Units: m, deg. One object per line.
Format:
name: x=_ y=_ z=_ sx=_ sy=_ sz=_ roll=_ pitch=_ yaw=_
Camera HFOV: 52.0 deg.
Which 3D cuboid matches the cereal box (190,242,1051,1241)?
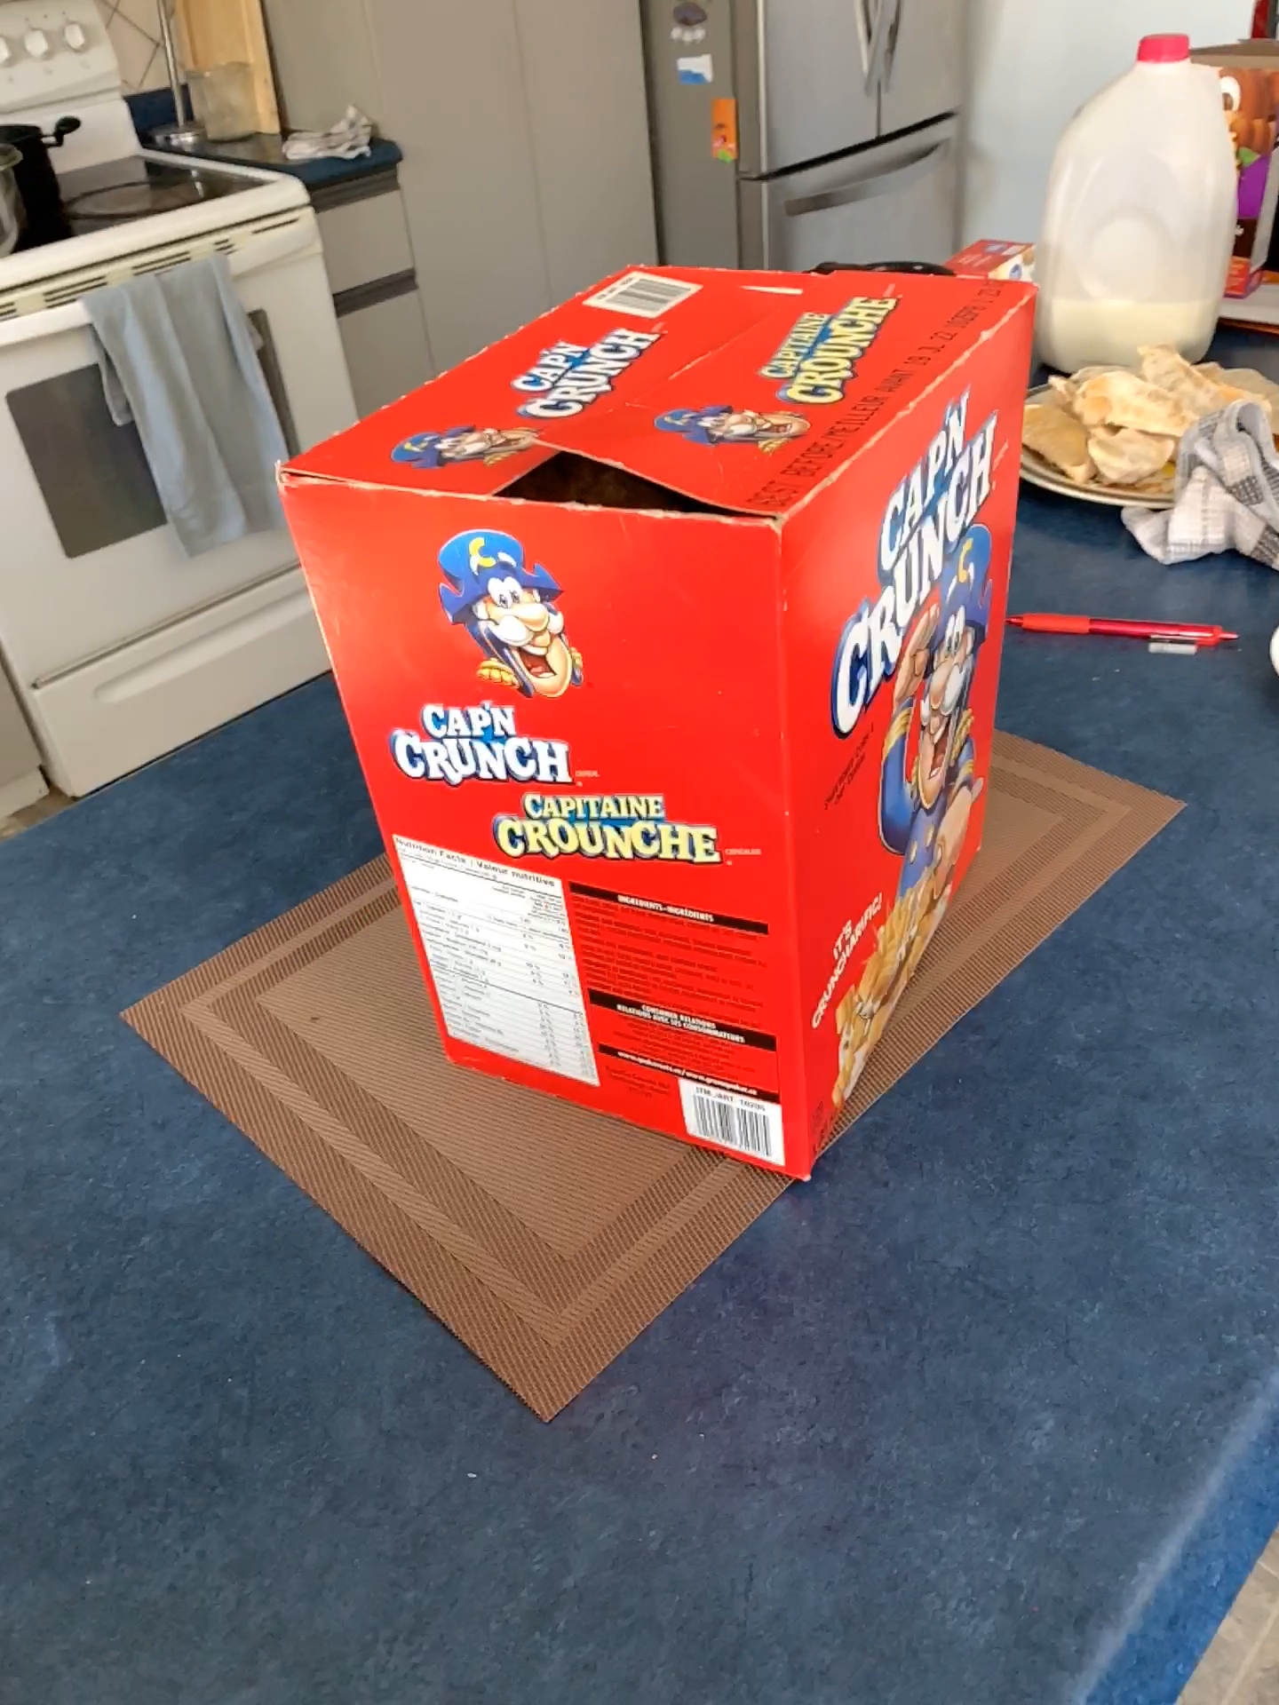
cereal box: x=0.022 y=-0.066 z=0.566 sx=0.210 sy=0.297 sz=0.272 roll=14 pitch=42 yaw=25
